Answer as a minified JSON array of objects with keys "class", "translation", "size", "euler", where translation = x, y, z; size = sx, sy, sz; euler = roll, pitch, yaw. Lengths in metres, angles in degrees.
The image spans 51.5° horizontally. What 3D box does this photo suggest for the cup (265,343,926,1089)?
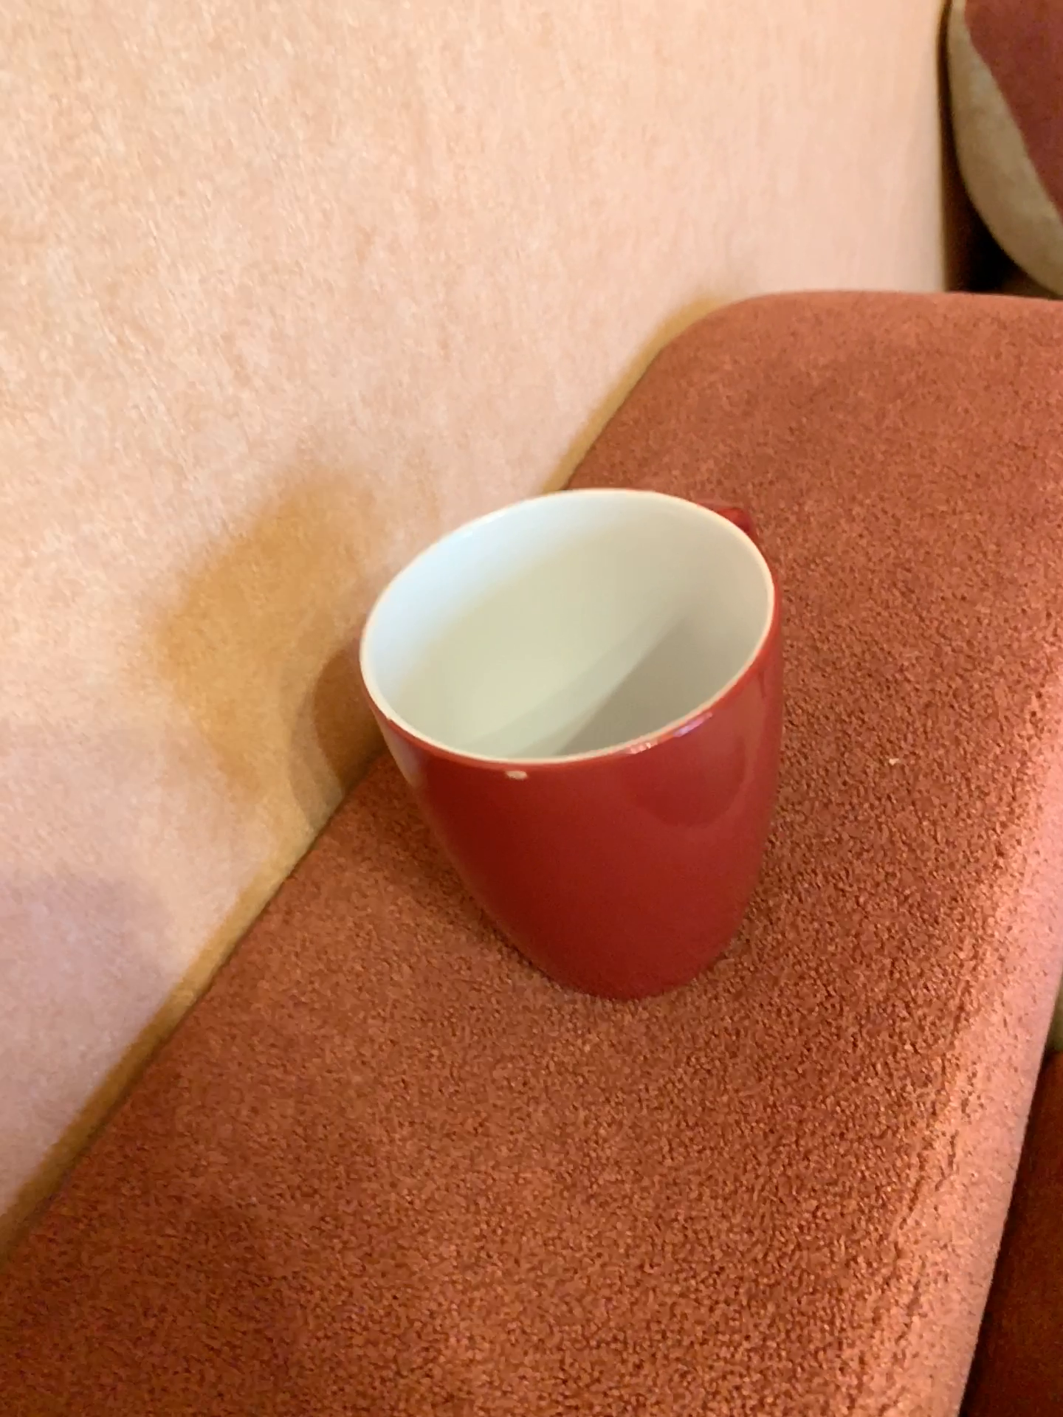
[{"class":"cup","translation":[0.025,-0.005,0.247],"size":[0.083,0.091,0.122],"euler":[17,53,28]}]
